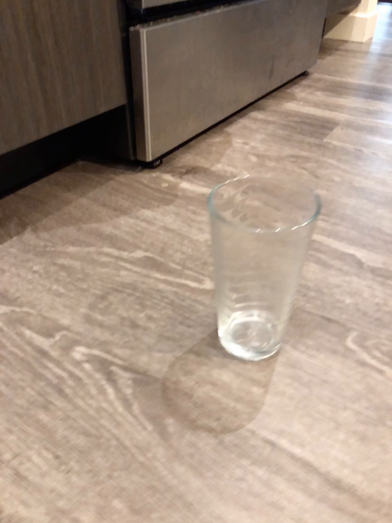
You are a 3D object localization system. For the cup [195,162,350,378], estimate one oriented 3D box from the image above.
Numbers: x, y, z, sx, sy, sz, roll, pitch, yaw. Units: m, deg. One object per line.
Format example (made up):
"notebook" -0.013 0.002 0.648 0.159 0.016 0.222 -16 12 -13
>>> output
"cup" 0.061 0.006 0.376 0.090 0.139 0.090 0 37 0
